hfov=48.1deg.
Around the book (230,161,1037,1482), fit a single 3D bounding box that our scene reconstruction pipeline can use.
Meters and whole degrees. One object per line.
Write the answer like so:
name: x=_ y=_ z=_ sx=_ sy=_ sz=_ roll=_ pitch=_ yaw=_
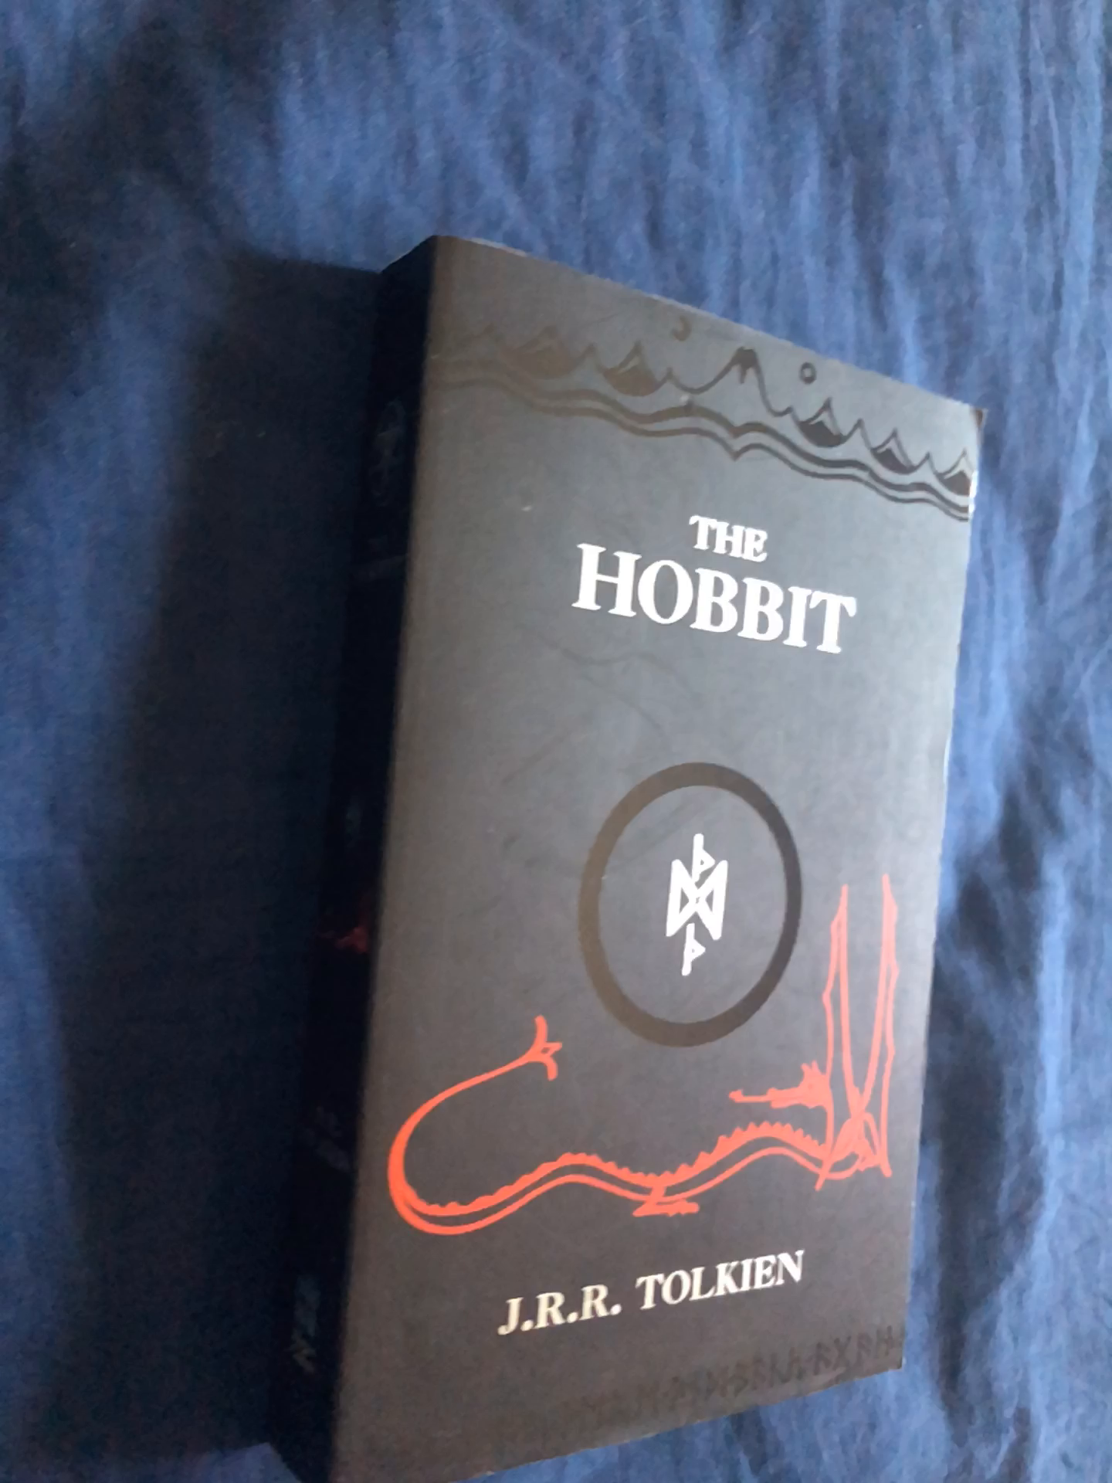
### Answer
book: x=0.019 y=0.020 z=0.207 sx=0.120 sy=0.040 sz=0.180 roll=6 pitch=87 yaw=-33
